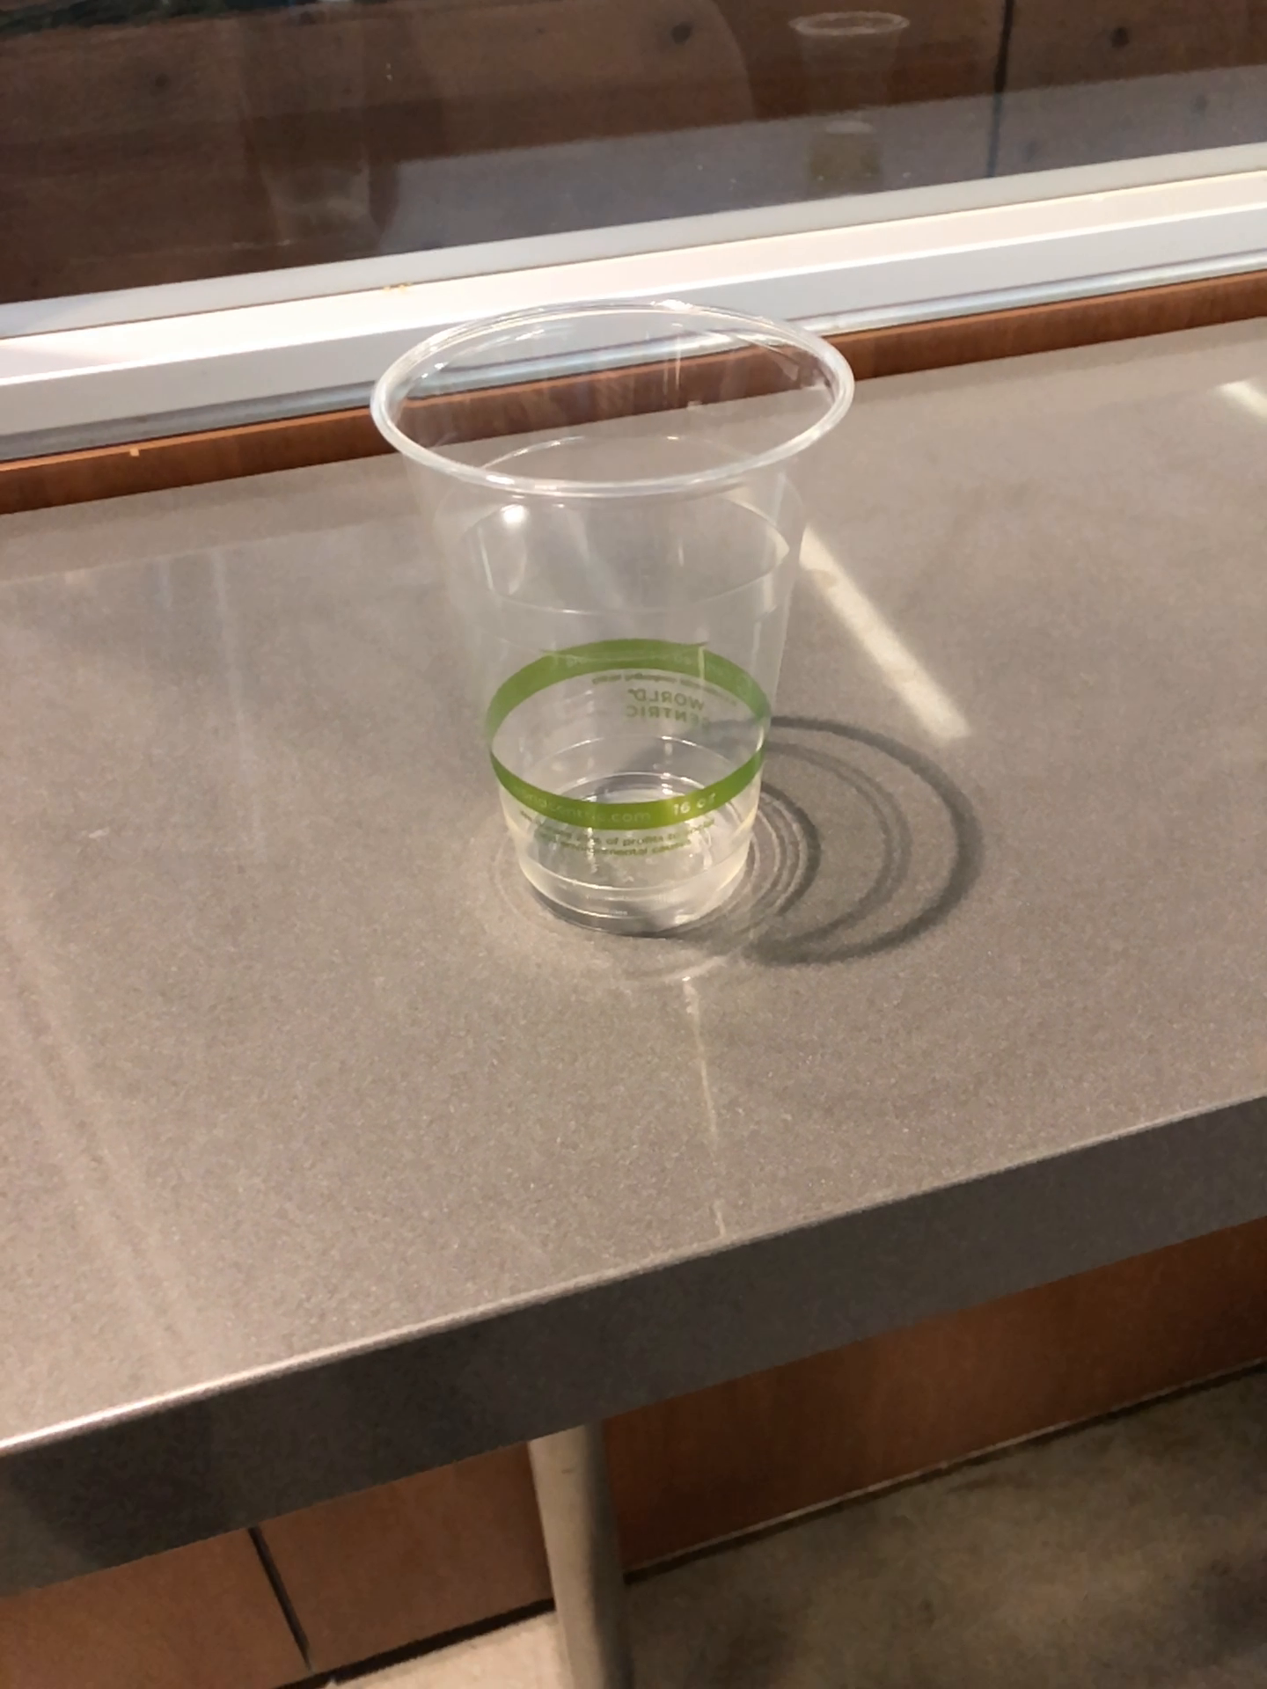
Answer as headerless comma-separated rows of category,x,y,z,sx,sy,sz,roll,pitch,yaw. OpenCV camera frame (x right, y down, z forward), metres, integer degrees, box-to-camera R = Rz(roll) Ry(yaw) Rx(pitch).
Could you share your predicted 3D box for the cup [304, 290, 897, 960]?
cup,0.001,-0.054,0.325,0.100,0.109,0.100,-2,38,2
